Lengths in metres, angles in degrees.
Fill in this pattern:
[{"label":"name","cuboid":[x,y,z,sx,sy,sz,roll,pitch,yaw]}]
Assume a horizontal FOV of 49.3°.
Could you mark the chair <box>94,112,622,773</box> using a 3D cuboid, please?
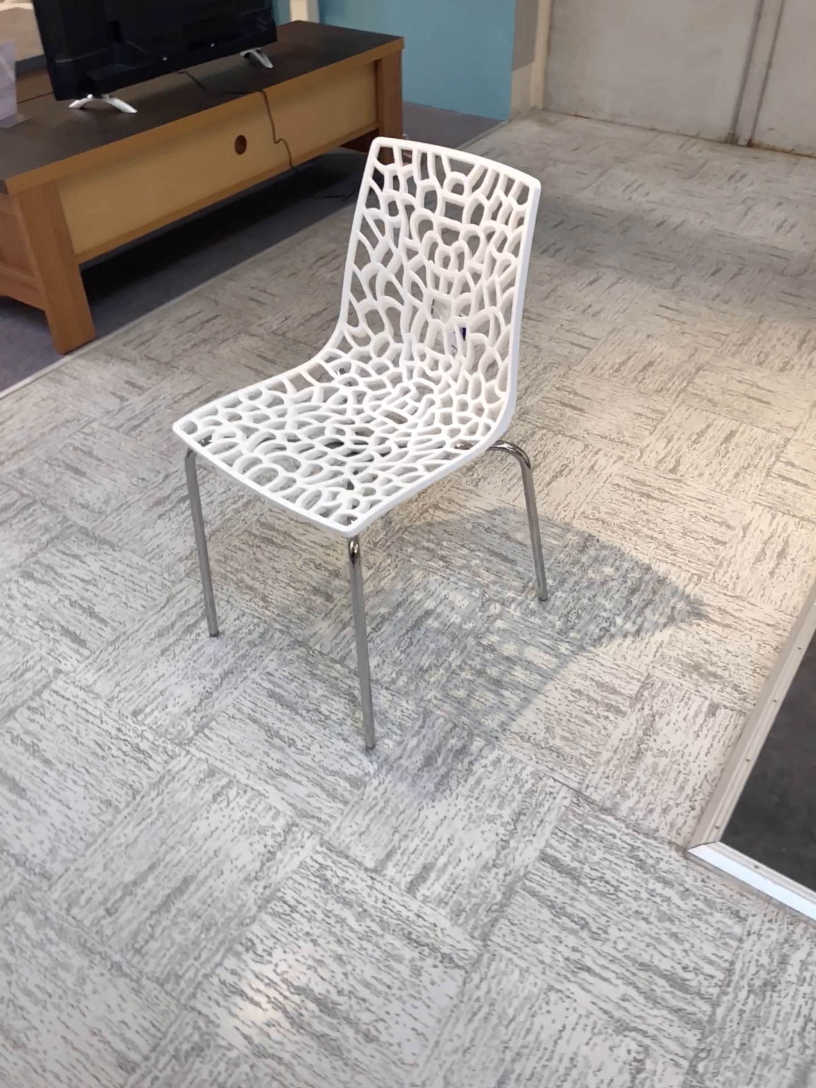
[{"label":"chair","cuboid":[-0.054,-0.160,1.404,0.450,0.785,0.513,31,50,30]}]
